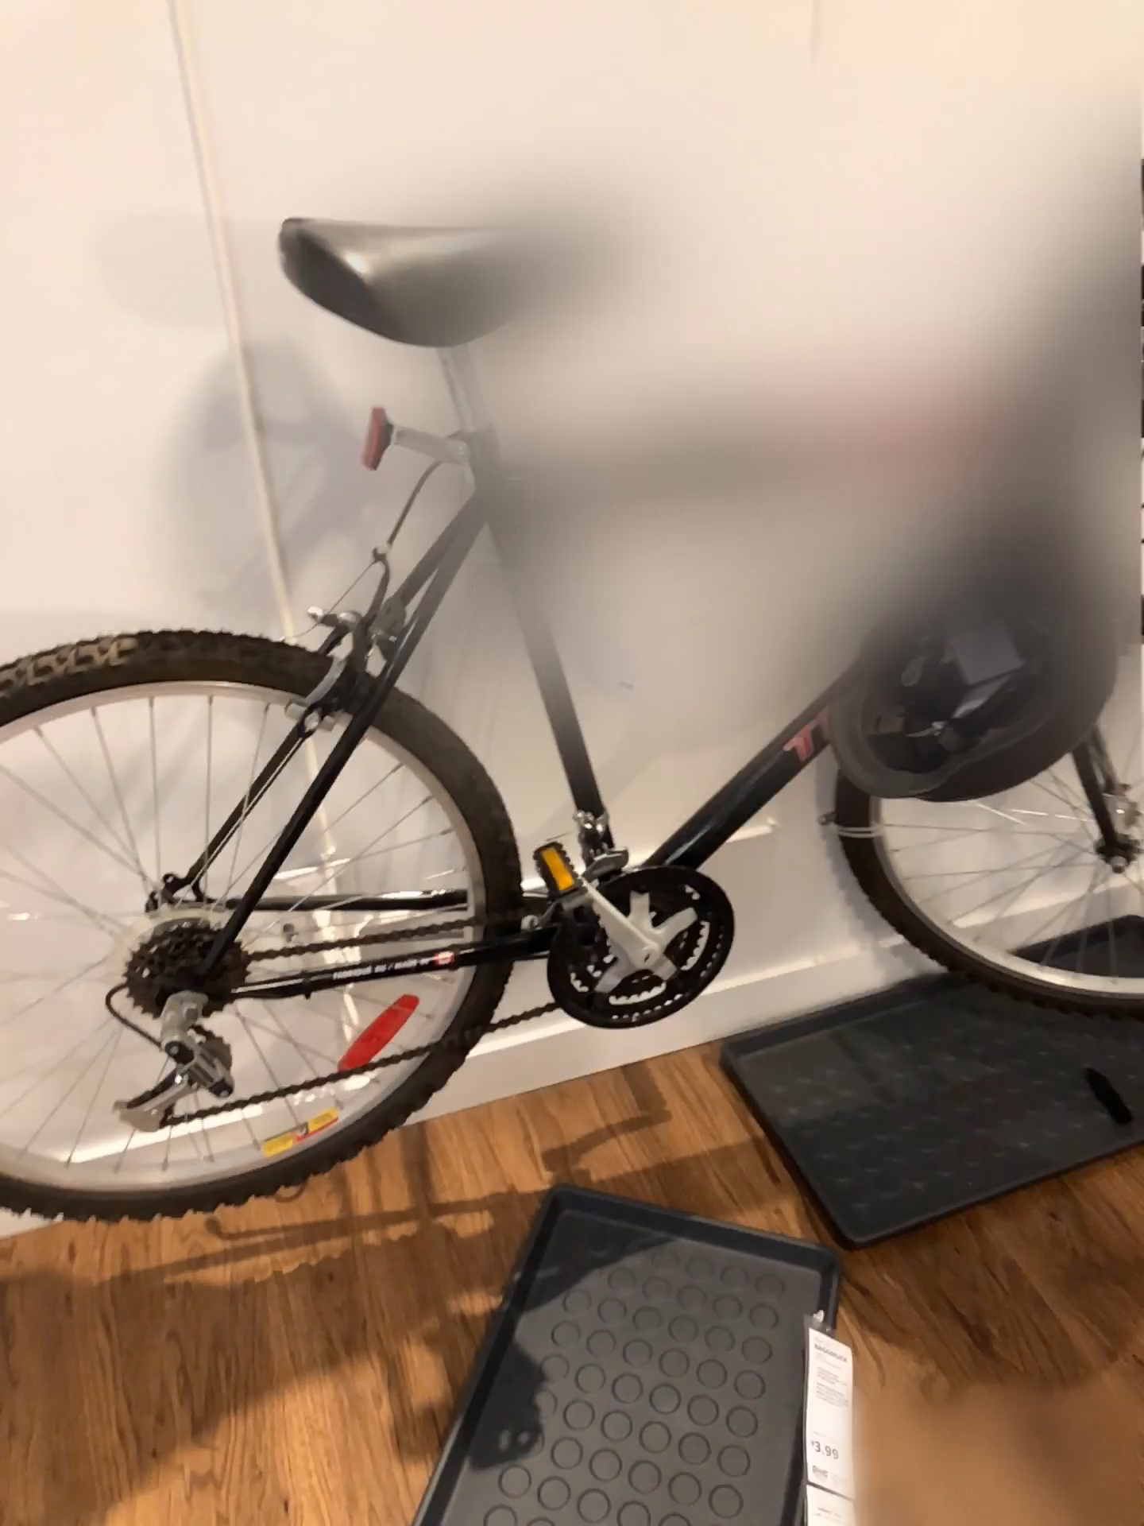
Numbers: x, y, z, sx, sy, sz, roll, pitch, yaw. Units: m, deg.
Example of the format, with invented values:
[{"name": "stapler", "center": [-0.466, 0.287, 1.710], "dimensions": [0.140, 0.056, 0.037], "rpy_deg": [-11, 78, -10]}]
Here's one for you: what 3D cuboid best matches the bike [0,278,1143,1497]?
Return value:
[{"name": "bike", "center": [0.115, 0.070, 1.203], "dimensions": [1.565, 0.845, 0.561], "rpy_deg": [-3, 30, -12]}]
